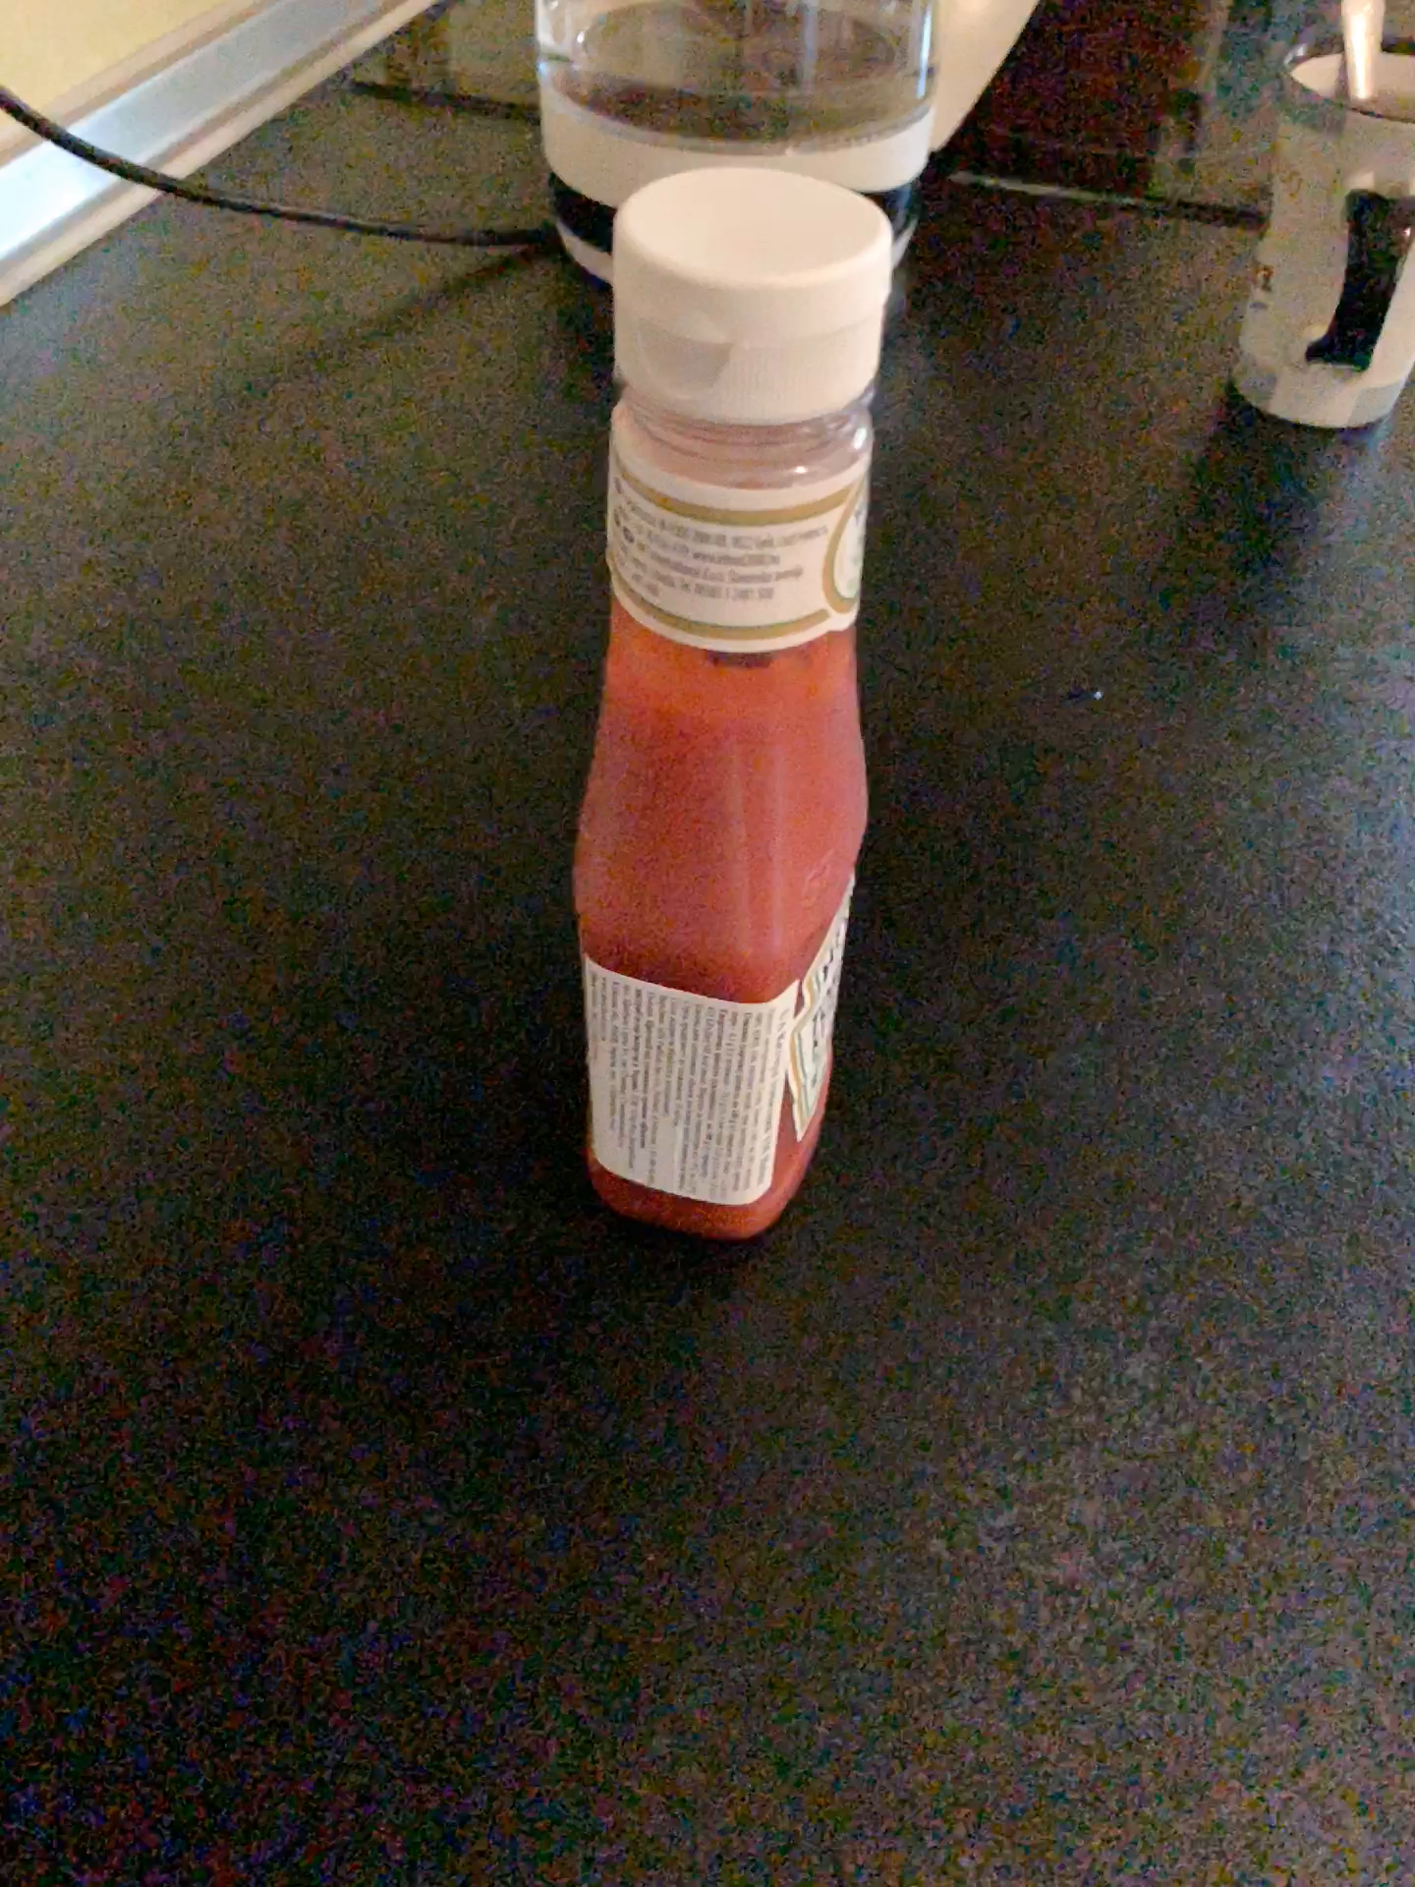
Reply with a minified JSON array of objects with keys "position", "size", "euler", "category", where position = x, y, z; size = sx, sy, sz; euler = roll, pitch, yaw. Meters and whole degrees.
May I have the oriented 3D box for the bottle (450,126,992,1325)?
[{"position":[0.002,-0.019,0.245],"size":[0.050,0.189,0.070],"euler":[12,48,8],"category":"bottle"}]
